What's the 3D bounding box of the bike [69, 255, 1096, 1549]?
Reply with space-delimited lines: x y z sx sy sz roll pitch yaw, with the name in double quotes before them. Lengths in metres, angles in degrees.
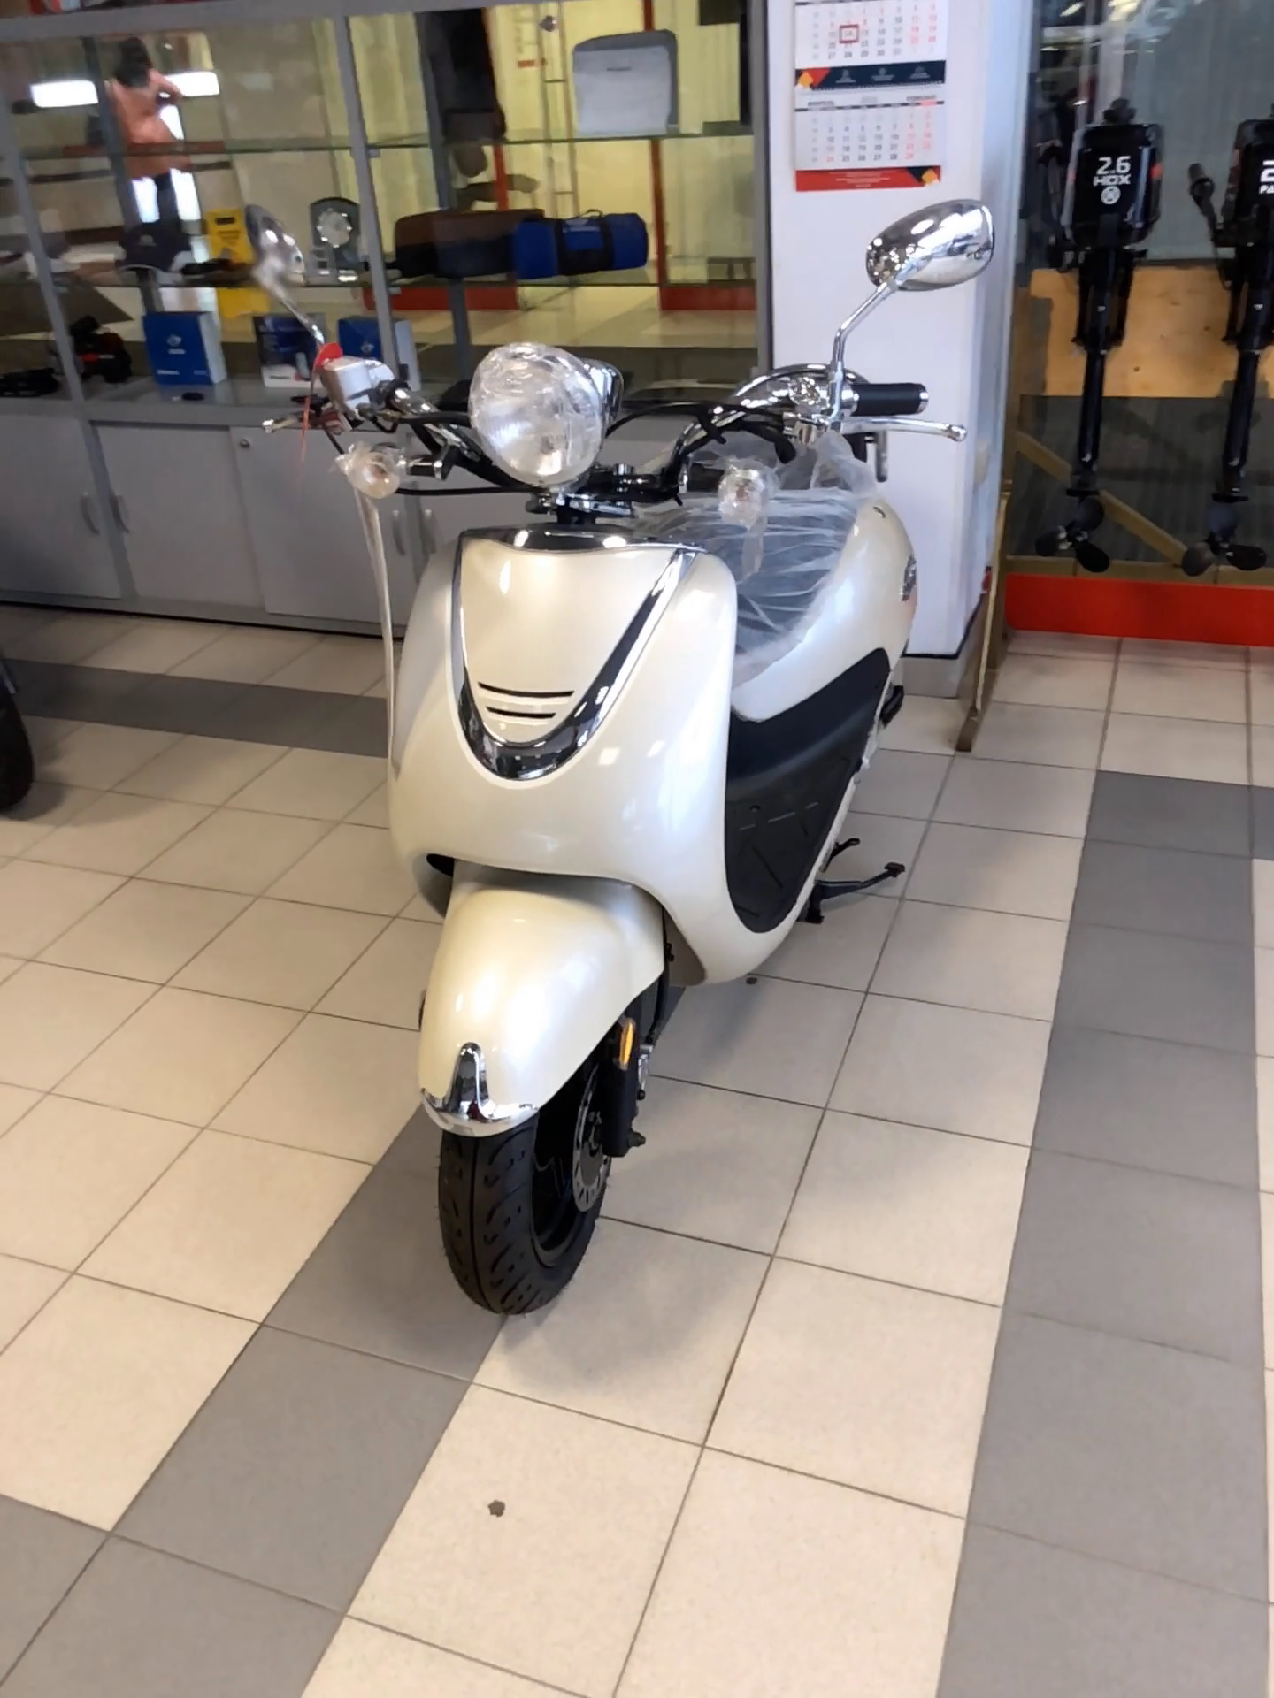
"bike" 0.141 -0.181 2.069 0.805 0.963 1.691 8 34 20
